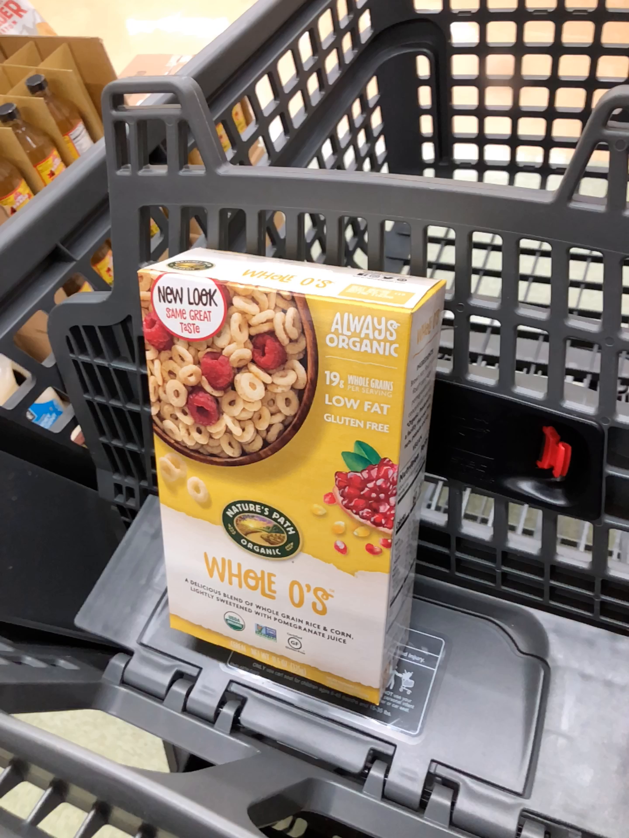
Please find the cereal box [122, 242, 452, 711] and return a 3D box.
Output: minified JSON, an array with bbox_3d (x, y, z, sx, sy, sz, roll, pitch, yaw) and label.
[{"bbox_3d":[-0.017,0.035,0.414,0.160,0.250,0.060,13,29,22],"label":"cereal box"}]
